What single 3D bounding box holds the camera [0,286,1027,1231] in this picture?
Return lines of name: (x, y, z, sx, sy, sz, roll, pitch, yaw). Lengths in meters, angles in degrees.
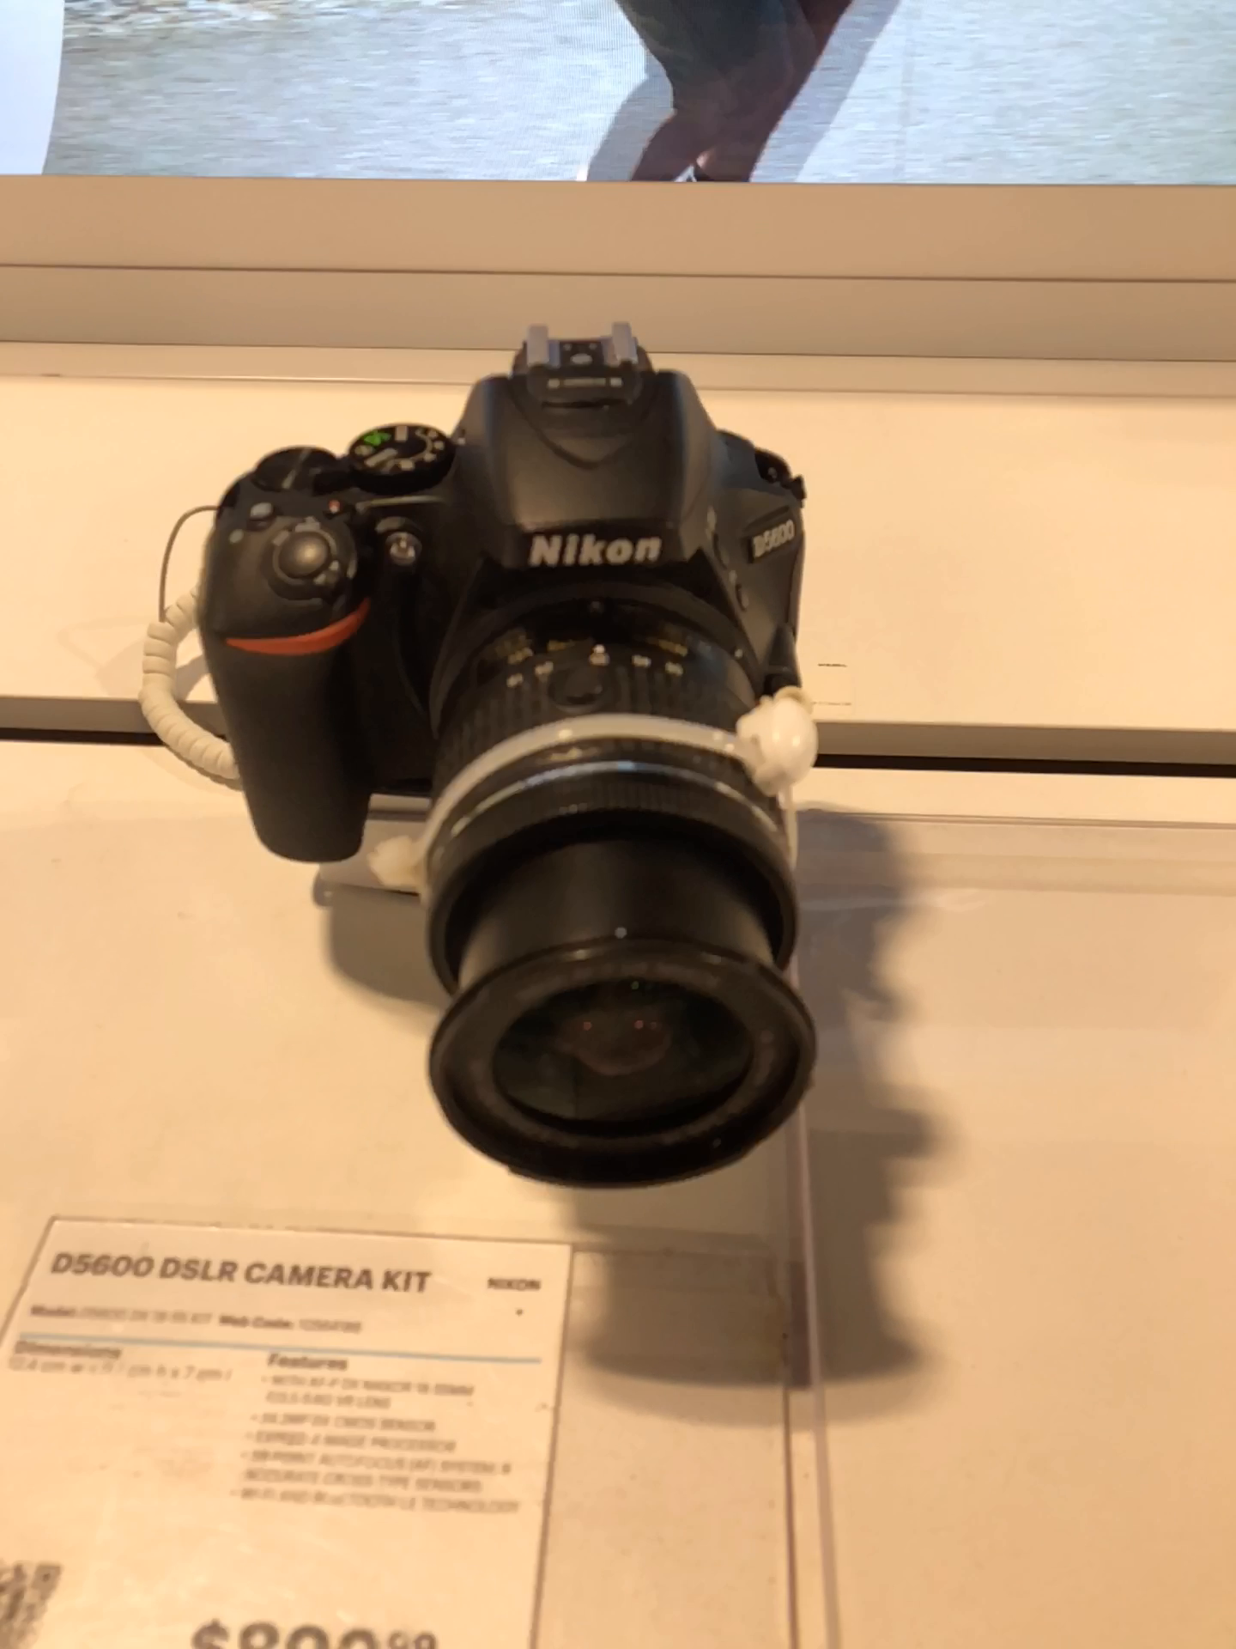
camera: (-0.020, -0.022, 0.243, 0.130, 0.089, 0.151, -3, 41, -1)
